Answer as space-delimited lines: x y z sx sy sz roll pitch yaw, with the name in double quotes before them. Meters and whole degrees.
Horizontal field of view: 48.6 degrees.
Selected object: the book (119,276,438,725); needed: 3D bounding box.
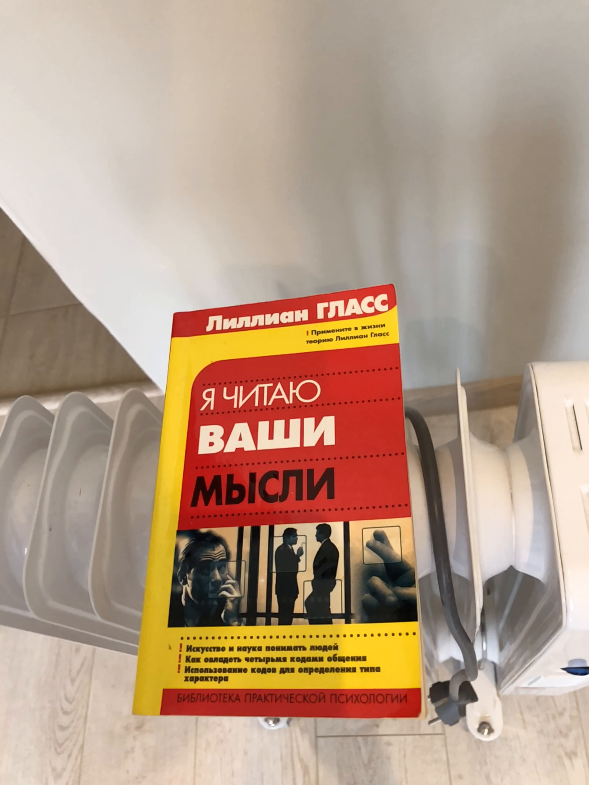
"book" -0.006 0.042 0.312 0.128 0.020 0.207 -6 61 13
